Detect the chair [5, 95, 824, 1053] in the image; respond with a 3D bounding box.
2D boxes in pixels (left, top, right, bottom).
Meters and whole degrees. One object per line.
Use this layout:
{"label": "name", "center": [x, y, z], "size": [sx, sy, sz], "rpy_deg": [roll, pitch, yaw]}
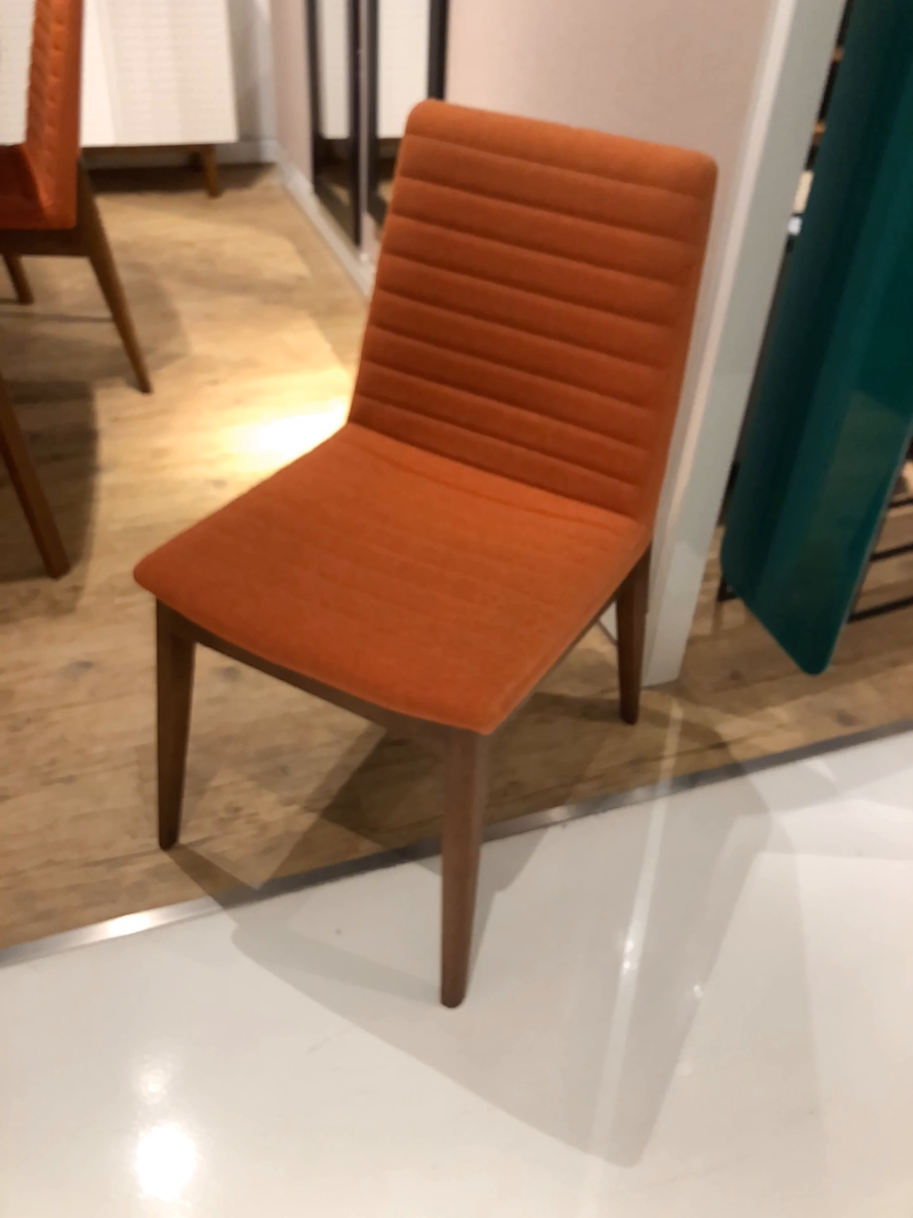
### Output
{"label": "chair", "center": [-0.011, -0.077, 1.217], "size": [0.531, 0.813, 0.634], "rpy_deg": [21, 41, 21]}
